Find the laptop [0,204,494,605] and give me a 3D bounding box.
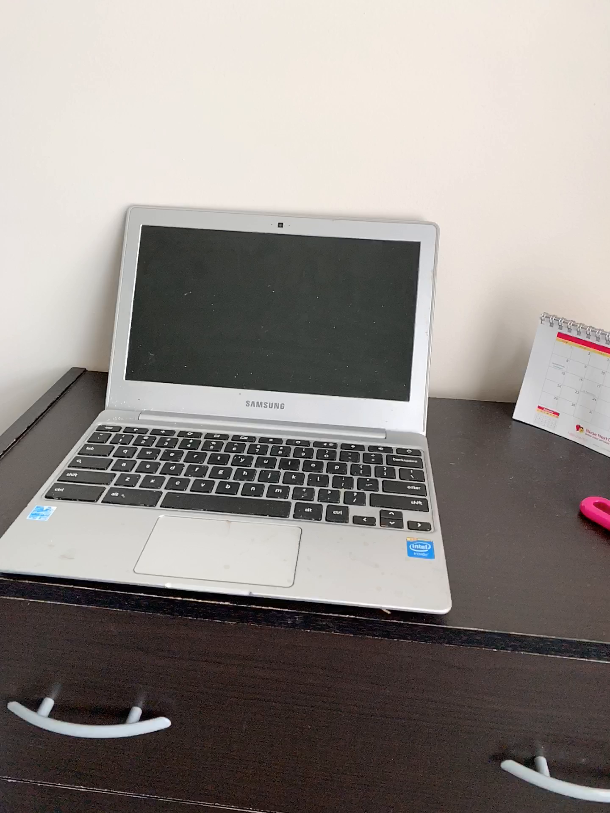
[{"bbox_3d":[-0.043,-0.037,0.478,0.291,0.153,0.319,4,28,3],"label":"laptop"}]
